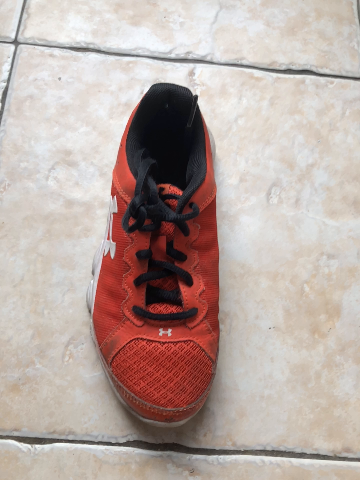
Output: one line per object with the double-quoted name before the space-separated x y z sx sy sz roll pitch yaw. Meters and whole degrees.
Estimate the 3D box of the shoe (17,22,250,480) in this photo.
"shoe" -0.016 0.004 0.251 0.100 0.100 0.240 3 75 -1
